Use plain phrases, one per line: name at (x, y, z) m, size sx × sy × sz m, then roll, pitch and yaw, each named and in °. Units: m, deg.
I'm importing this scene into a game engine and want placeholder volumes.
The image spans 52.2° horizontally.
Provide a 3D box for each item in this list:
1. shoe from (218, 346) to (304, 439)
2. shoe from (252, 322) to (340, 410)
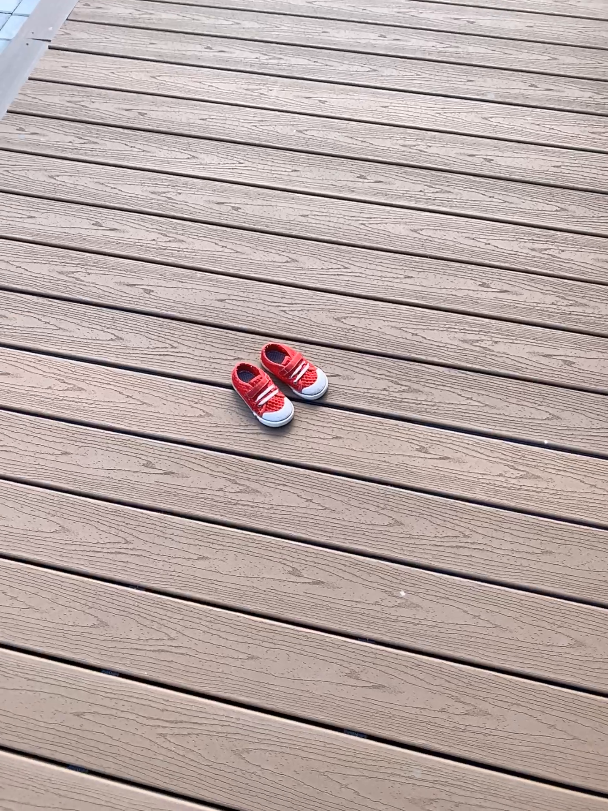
shoe at (-0.093, -0.029, 1.333) m, size 0.090 × 0.060 × 0.180 m, roll -35°, pitch 66°, yaw -16°
shoe at (-0.018, -0.088, 1.368) m, size 0.180 × 0.060 × 0.090 m, roll 40°, pitch 70°, yaw 20°
